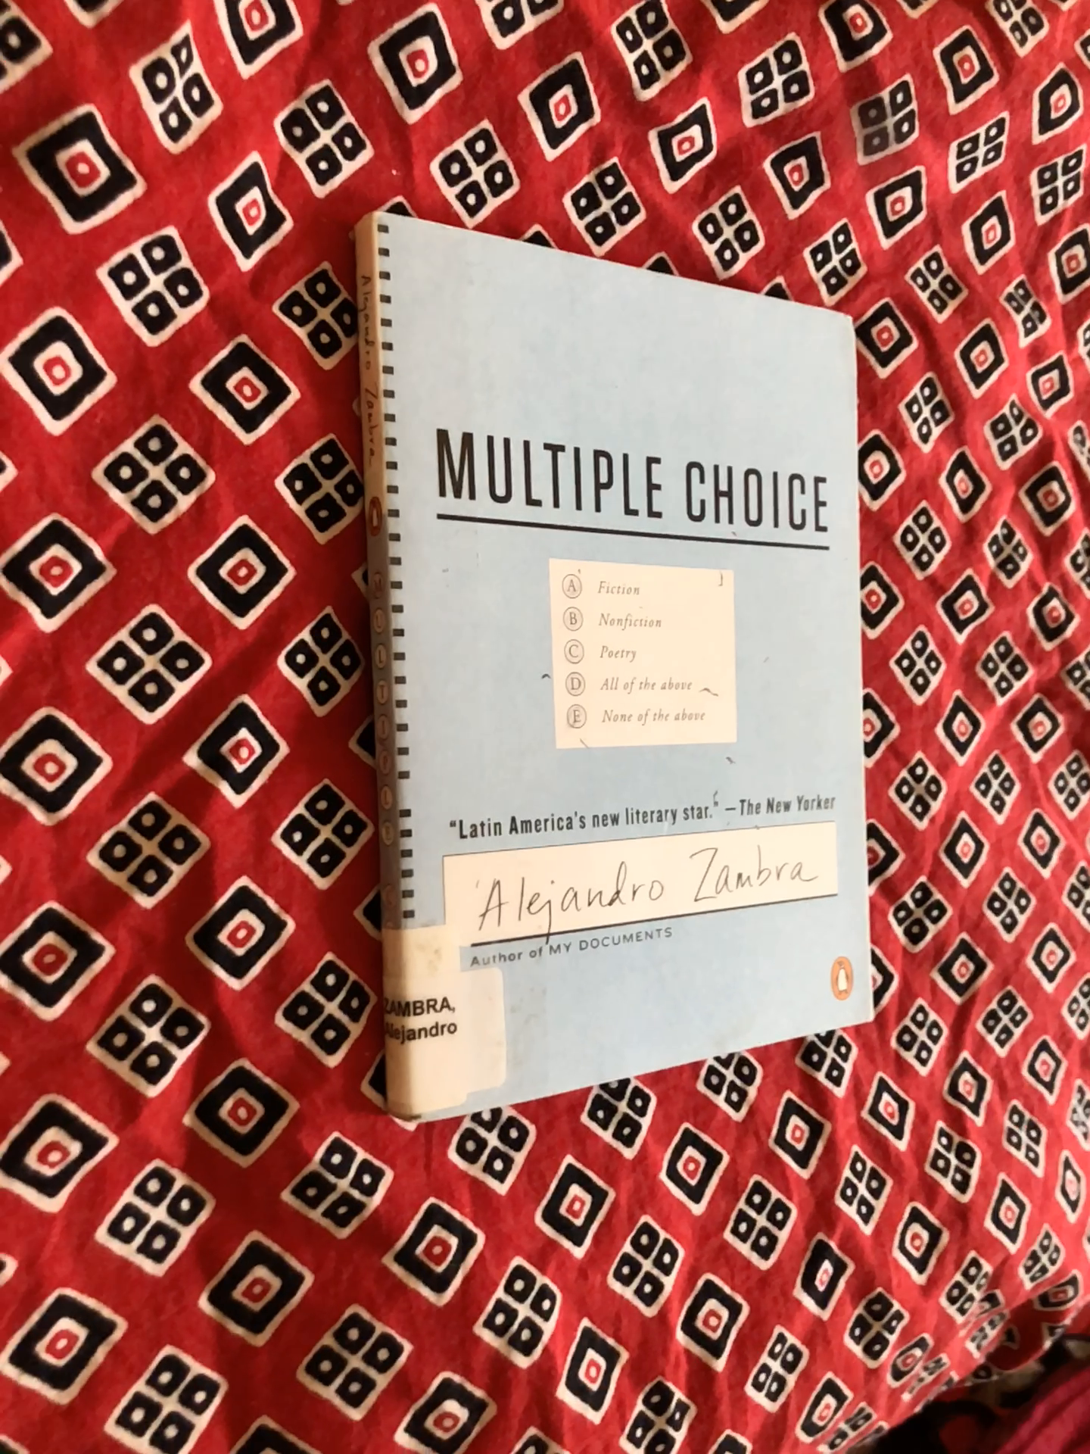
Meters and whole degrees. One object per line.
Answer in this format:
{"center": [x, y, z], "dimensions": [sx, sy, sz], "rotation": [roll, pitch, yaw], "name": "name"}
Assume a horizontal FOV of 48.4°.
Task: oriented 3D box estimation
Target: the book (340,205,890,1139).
{"center": [0.023, -0.012, 0.275], "dimensions": [0.134, 0.020, 0.176], "rotation": [-2, 90, -35], "name": "book"}
